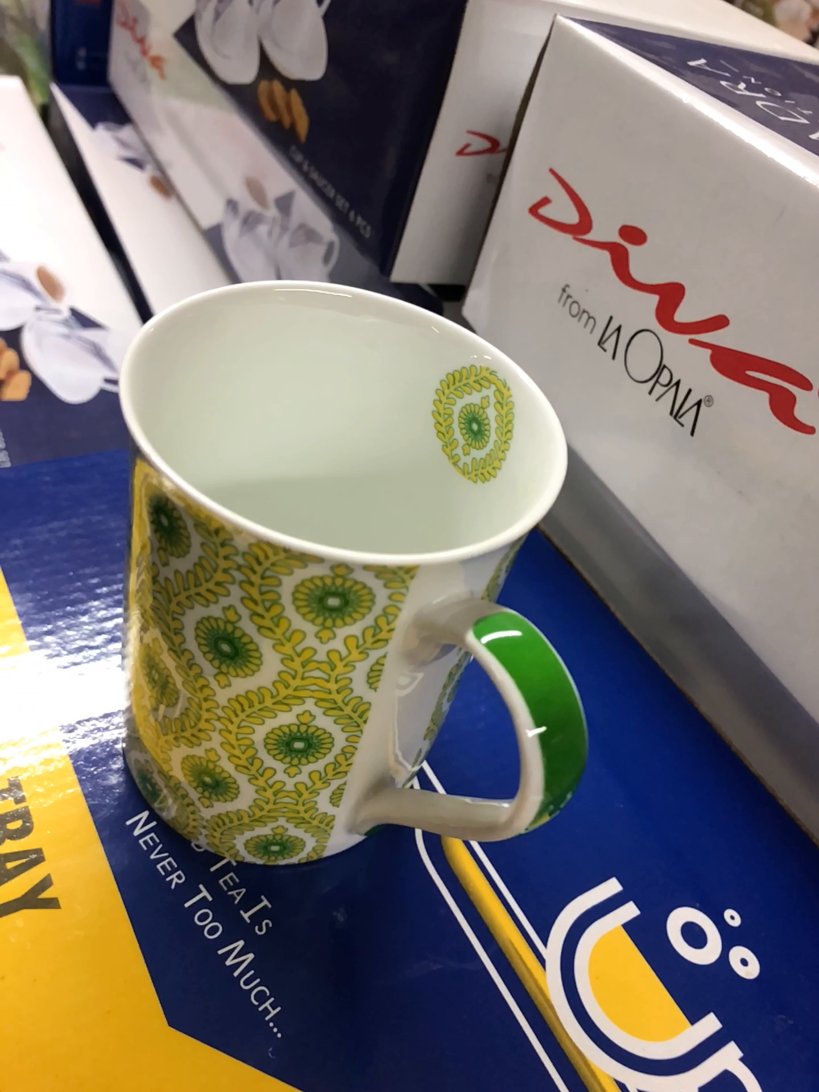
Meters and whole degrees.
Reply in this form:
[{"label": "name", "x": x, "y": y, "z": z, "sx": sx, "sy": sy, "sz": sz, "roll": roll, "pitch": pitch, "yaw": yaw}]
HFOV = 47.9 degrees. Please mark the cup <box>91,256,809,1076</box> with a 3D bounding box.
[{"label": "cup", "x": -0.009, "y": 0.014, "z": 0.166, "sx": 0.070, "sy": 0.089, "sz": 0.100, "roll": -10, "pitch": 49, "yaw": -28}]
